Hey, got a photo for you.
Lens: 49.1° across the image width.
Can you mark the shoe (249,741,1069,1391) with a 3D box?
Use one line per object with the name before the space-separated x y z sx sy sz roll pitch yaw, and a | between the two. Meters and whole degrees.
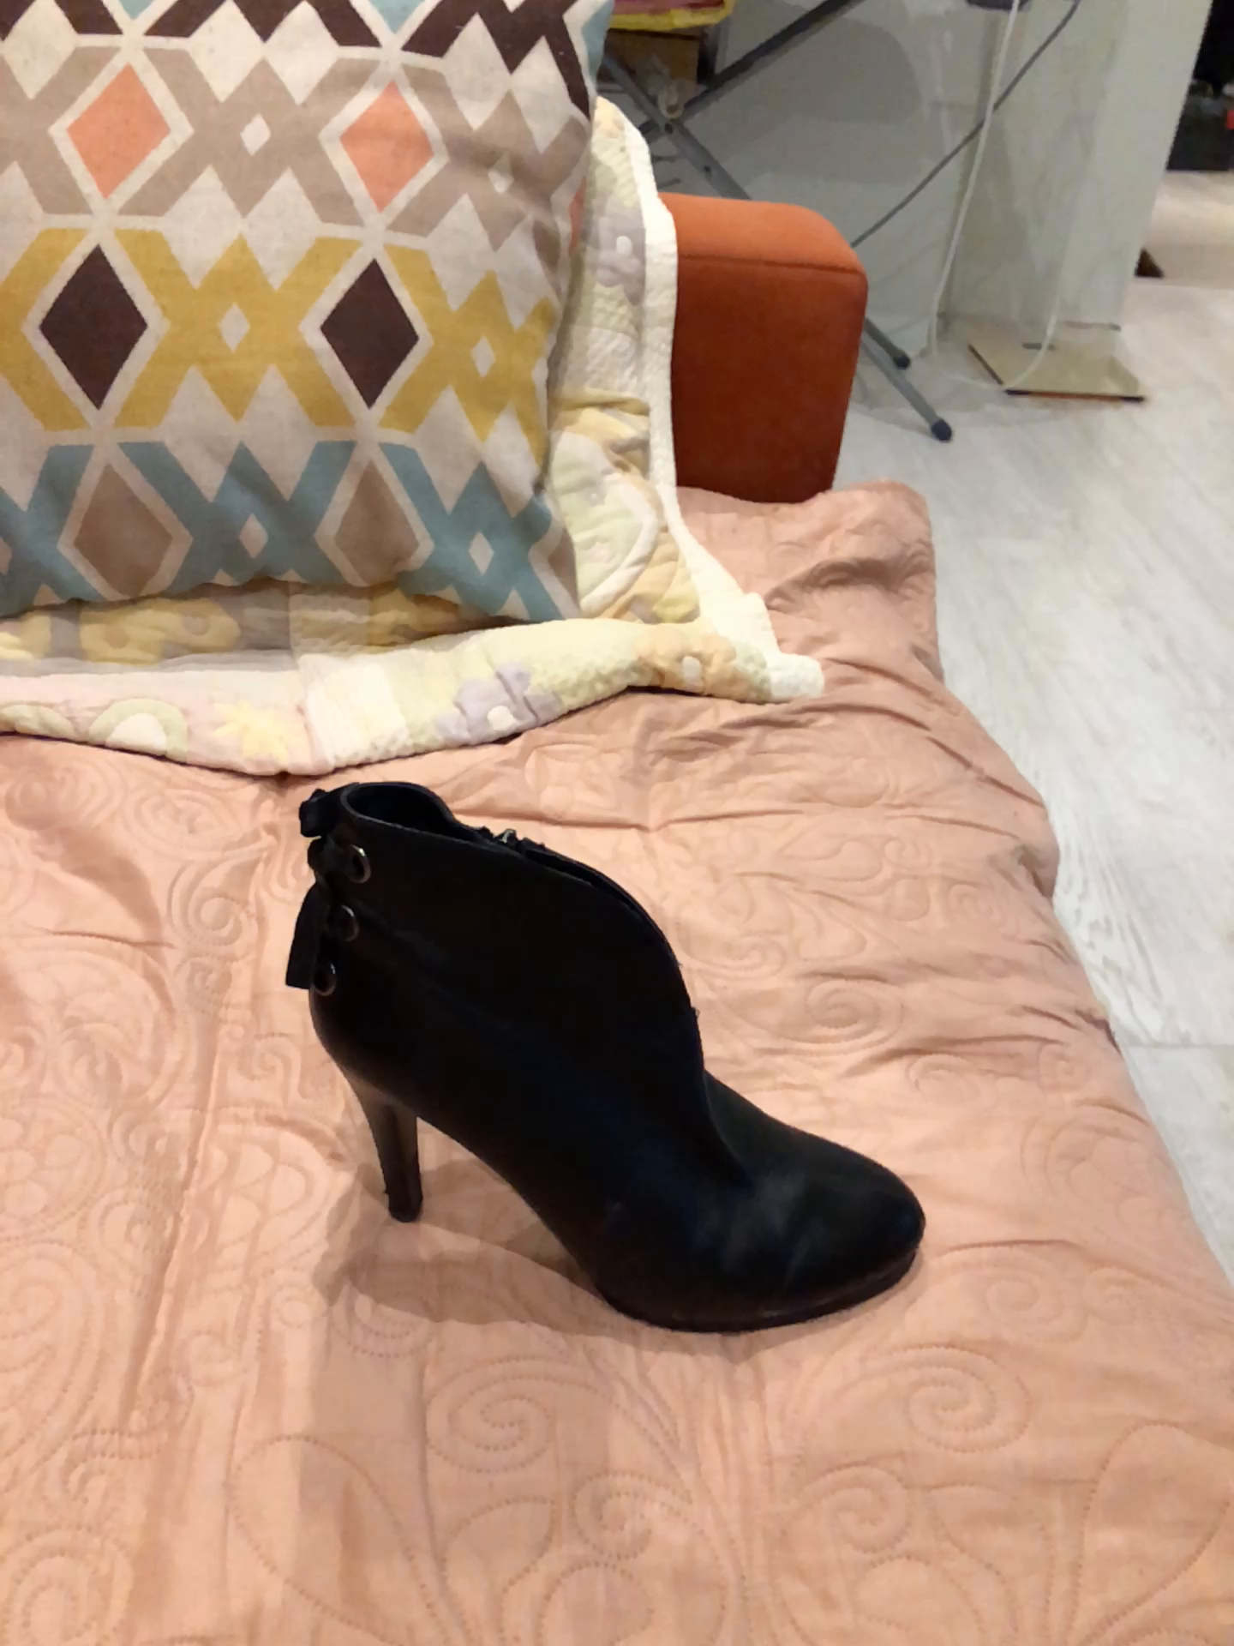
shoe | 0.007 0.083 0.448 0.220 0.169 0.096 7 36 1
